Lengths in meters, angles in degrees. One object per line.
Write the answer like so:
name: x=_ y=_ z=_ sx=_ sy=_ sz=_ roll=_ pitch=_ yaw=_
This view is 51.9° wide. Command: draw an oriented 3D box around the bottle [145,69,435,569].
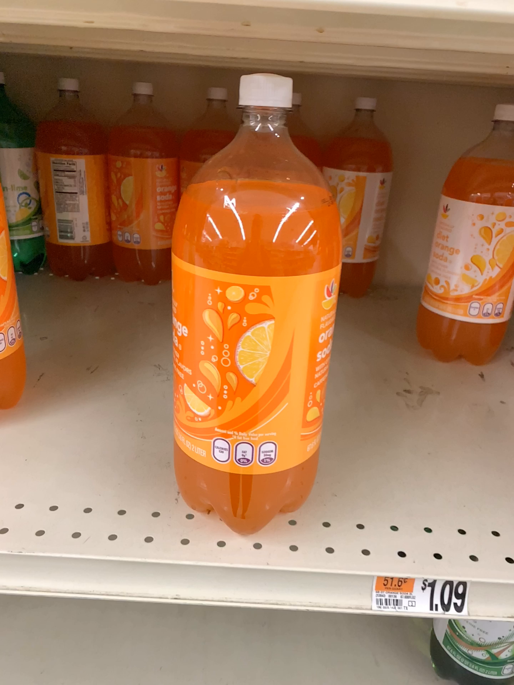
bottle: x=0.005 y=-0.015 z=0.351 sx=0.120 sy=0.288 sz=0.110 roll=3 pitch=25 yaw=-1
